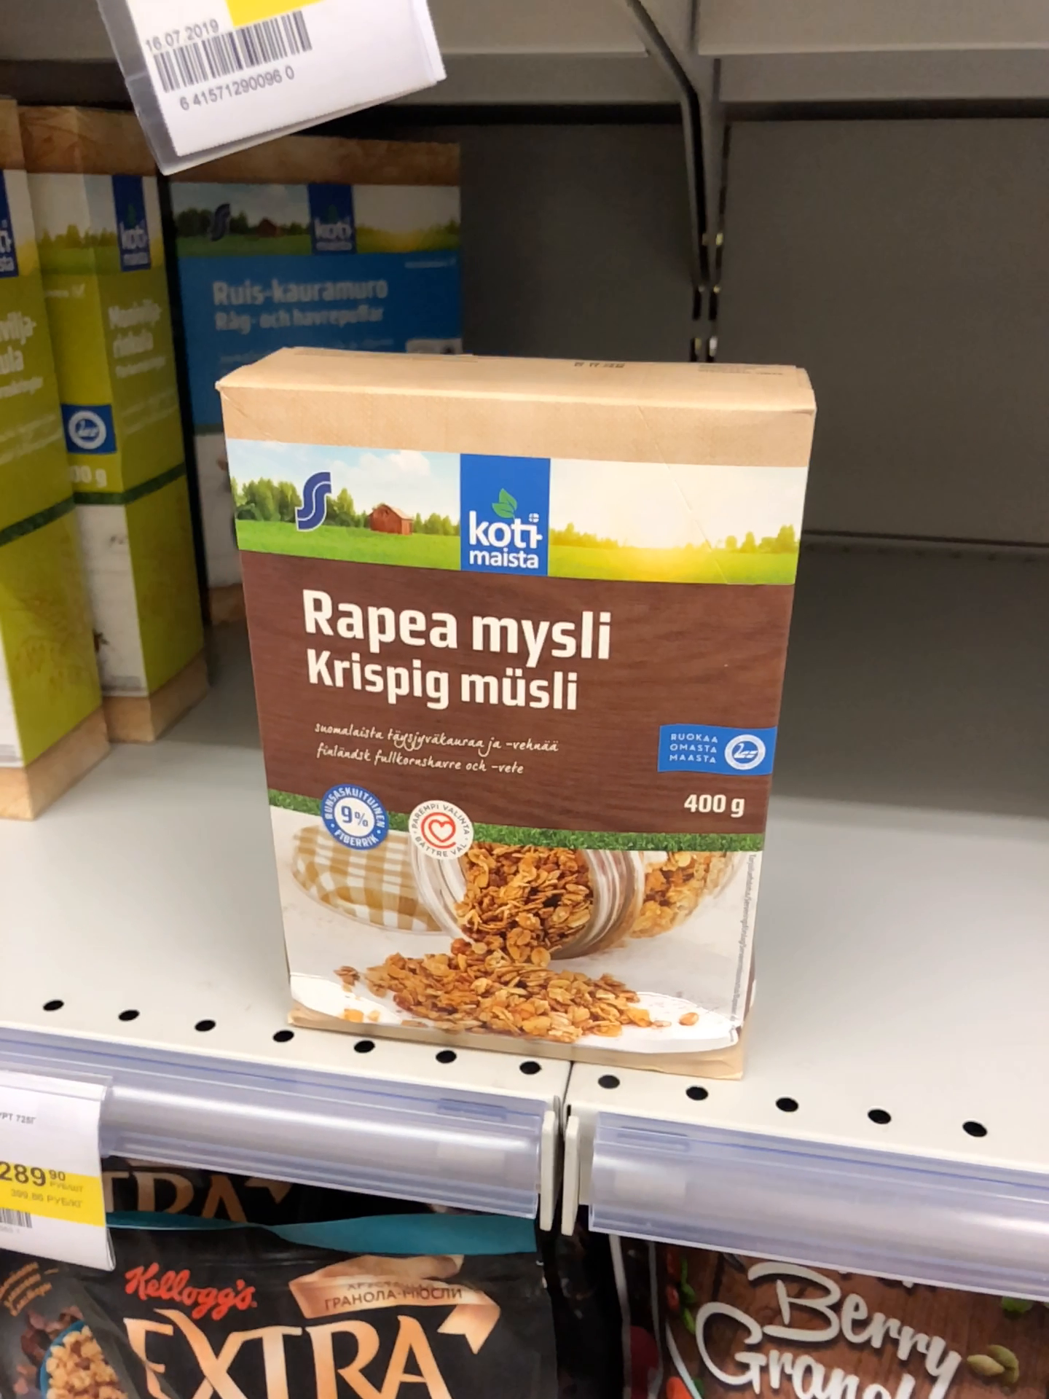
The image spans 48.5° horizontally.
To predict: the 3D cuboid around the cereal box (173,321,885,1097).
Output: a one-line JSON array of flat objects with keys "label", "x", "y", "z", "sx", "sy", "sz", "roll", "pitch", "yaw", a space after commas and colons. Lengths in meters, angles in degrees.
[{"label": "cereal box", "x": 0.002, "y": 0.005, "z": 0.305, "sx": 0.150, "sy": 0.189, "sz": 0.050, "roll": 4, "pitch": 25, "yaw": 9}]
